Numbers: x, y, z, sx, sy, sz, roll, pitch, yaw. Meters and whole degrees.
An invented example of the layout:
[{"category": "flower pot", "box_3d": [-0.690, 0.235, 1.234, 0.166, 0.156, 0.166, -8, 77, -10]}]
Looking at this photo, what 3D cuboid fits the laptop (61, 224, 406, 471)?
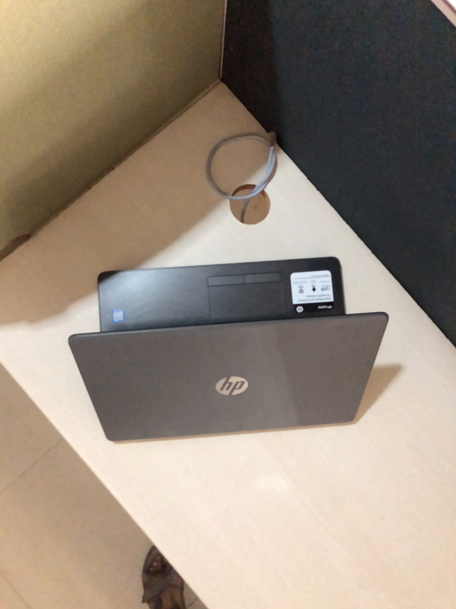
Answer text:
[{"category": "laptop", "box_3d": [0.002, 0.053, 0.655, 0.361, 0.205, 0.246, -4, 87, -2]}]
